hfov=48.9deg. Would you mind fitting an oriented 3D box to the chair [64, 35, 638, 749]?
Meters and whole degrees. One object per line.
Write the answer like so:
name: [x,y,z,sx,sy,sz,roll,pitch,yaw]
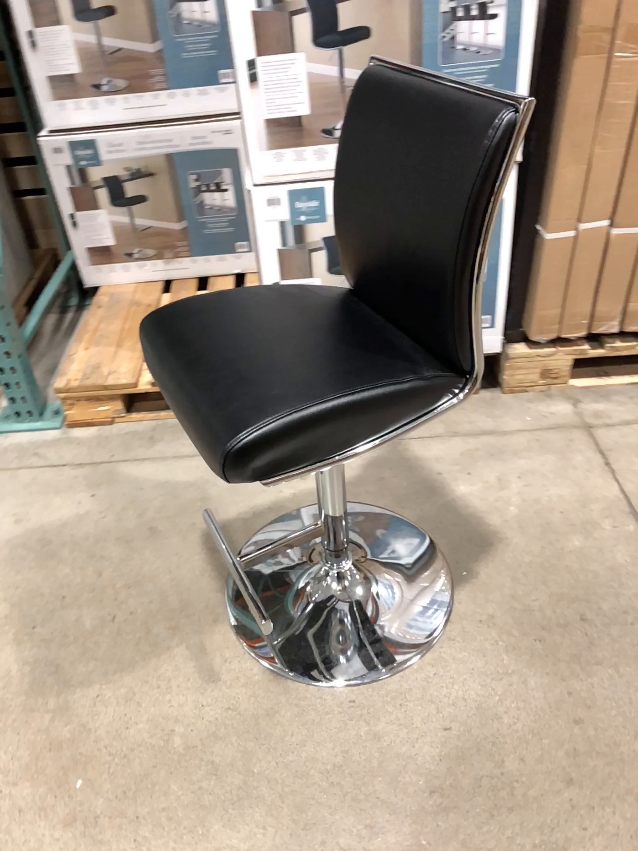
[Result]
chair: [0.031,-0.055,1.185,0.540,0.946,0.532,-21,41,-21]
